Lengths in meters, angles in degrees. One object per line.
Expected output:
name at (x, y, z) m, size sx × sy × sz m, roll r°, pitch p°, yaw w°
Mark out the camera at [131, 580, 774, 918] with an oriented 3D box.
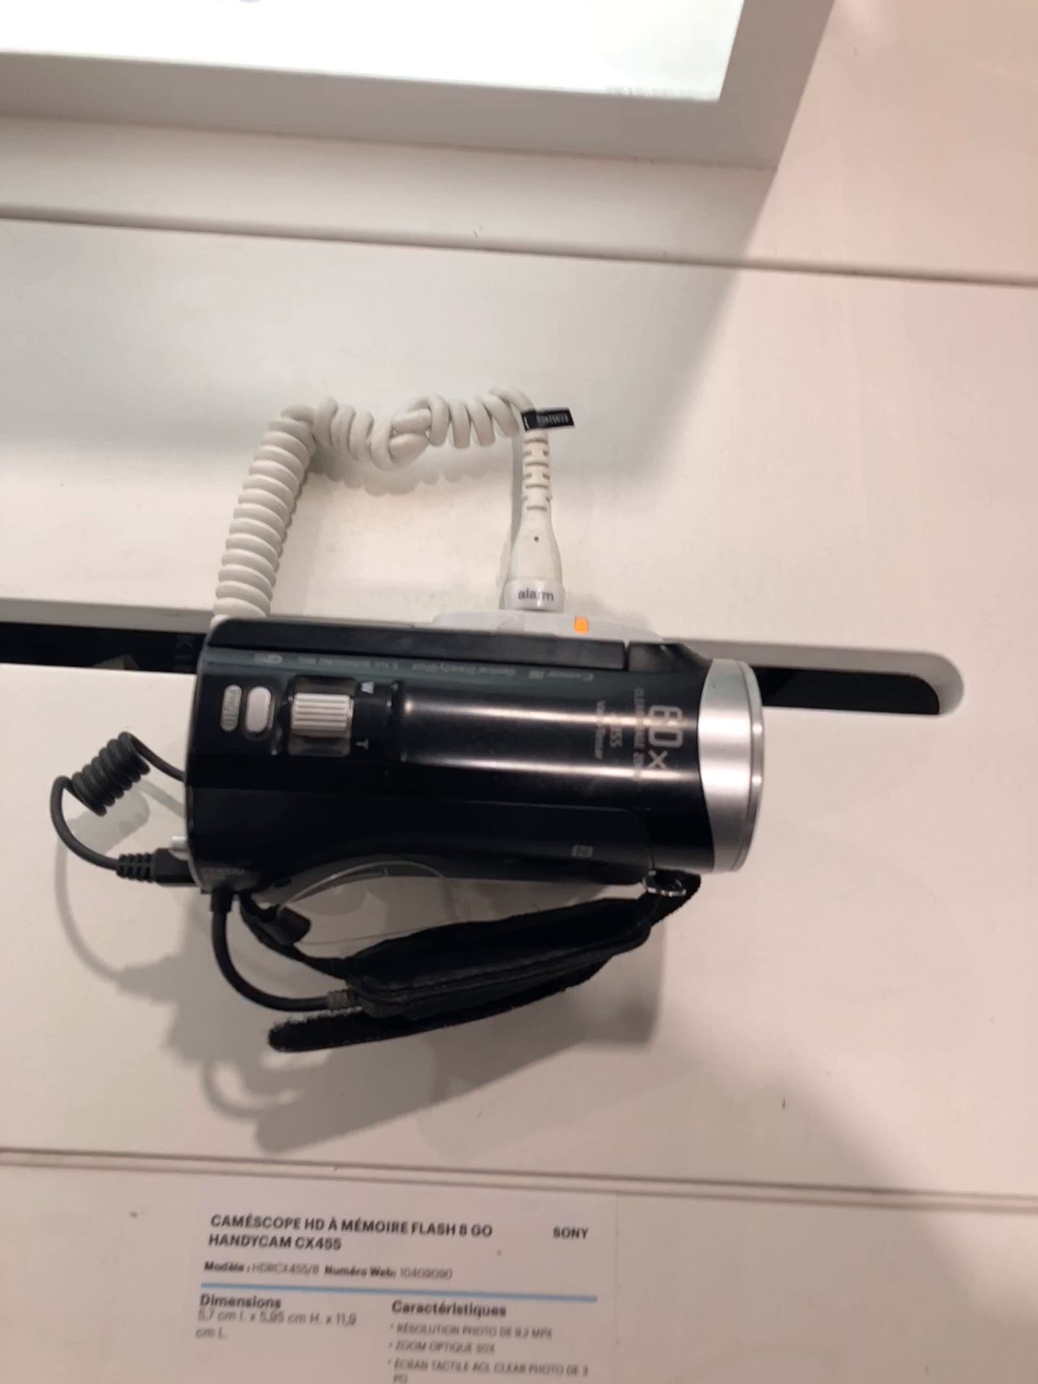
camera at (-0.012, 0.016, 0.252) m, size 0.121 × 0.058 × 0.057 m, roll 2°, pitch 71°, yaw -2°
